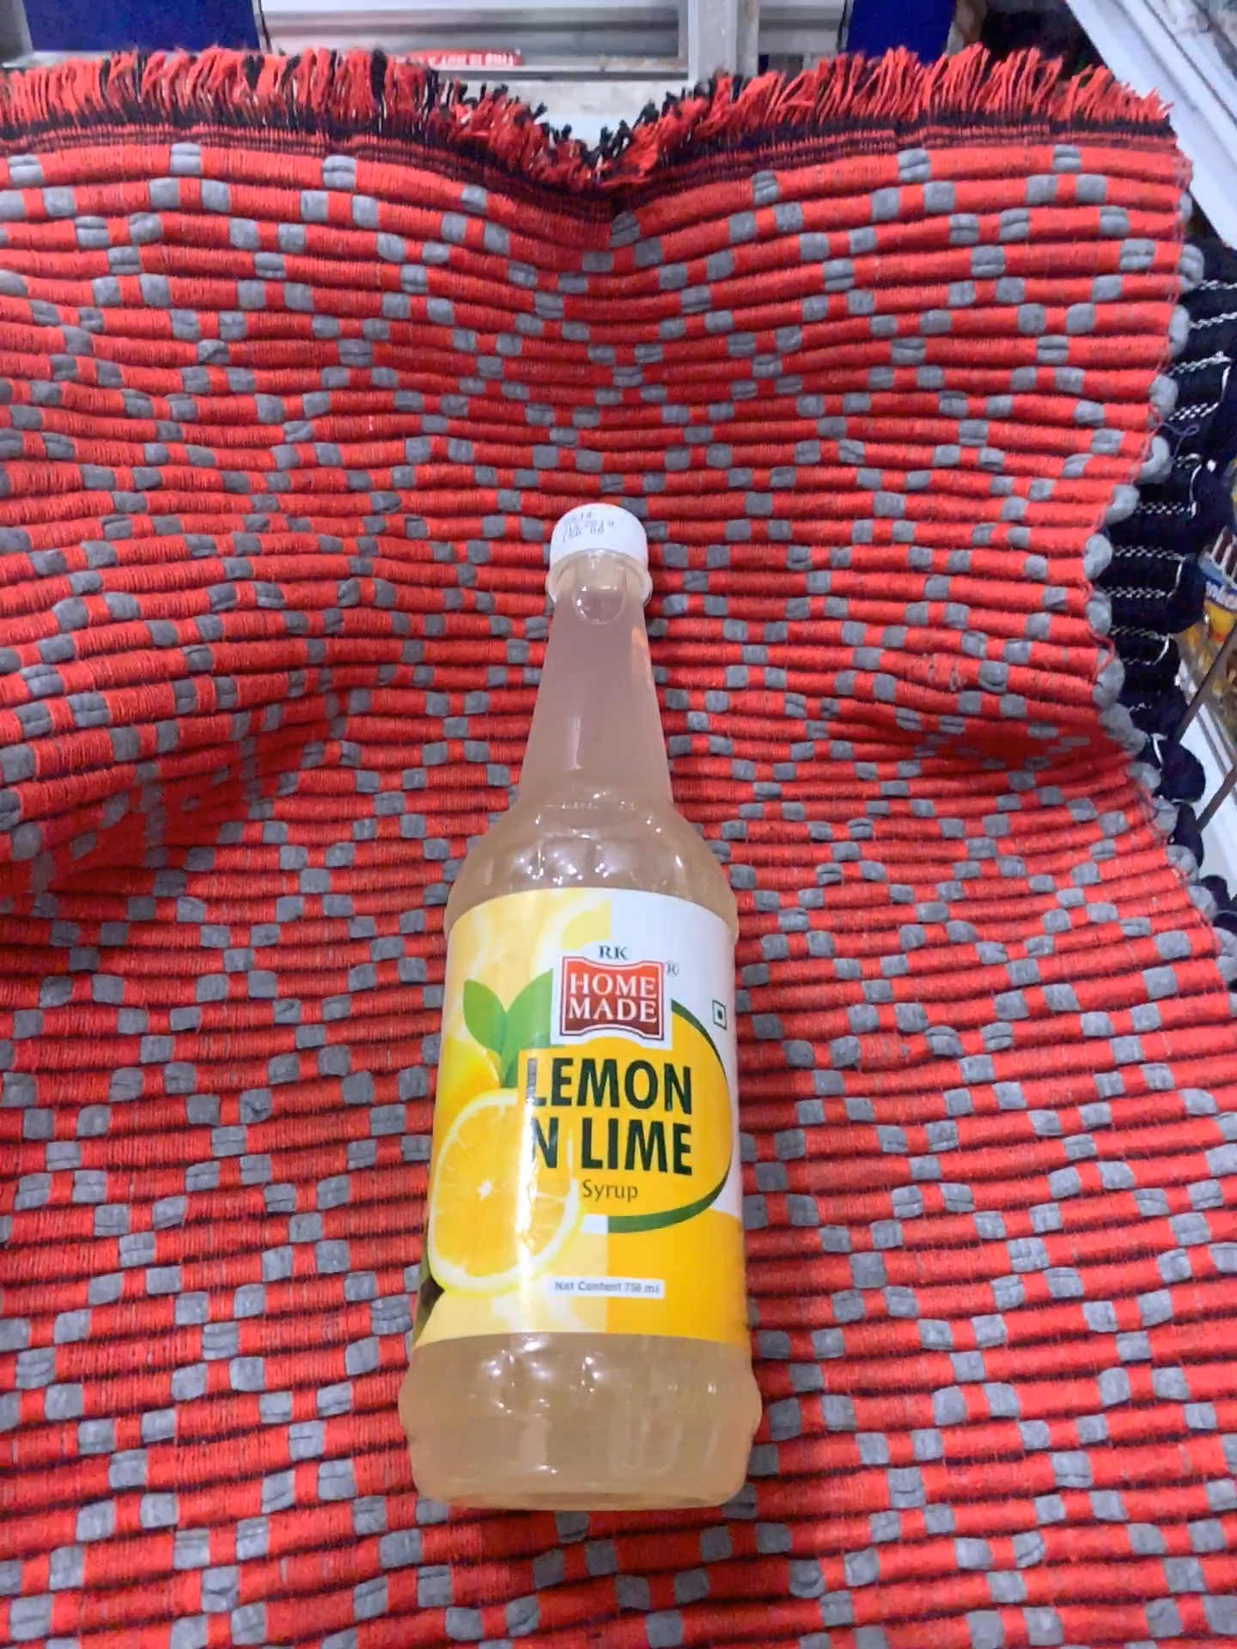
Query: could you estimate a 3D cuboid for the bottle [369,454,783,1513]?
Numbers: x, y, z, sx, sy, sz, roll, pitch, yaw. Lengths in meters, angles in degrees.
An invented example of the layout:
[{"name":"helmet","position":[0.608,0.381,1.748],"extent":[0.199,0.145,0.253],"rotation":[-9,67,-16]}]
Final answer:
[{"name":"bottle","position":[-0.007,0.021,0.319],"extent":[0.070,0.070,0.261],"rotation":[1,55,0]}]
